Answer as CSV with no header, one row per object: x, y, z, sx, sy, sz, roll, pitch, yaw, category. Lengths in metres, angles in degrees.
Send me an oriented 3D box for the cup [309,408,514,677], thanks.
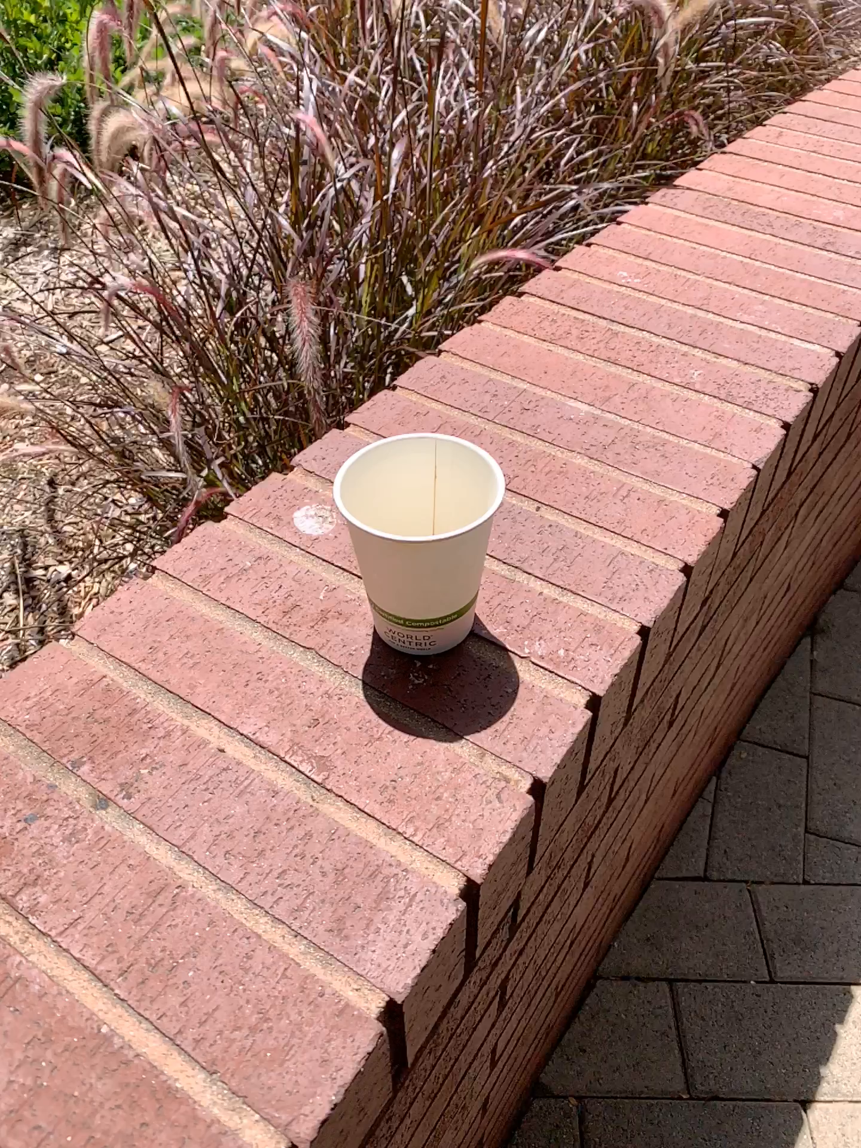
-0.007,-0.018,0.501,0.090,0.109,0.090,0,44,0,cup
